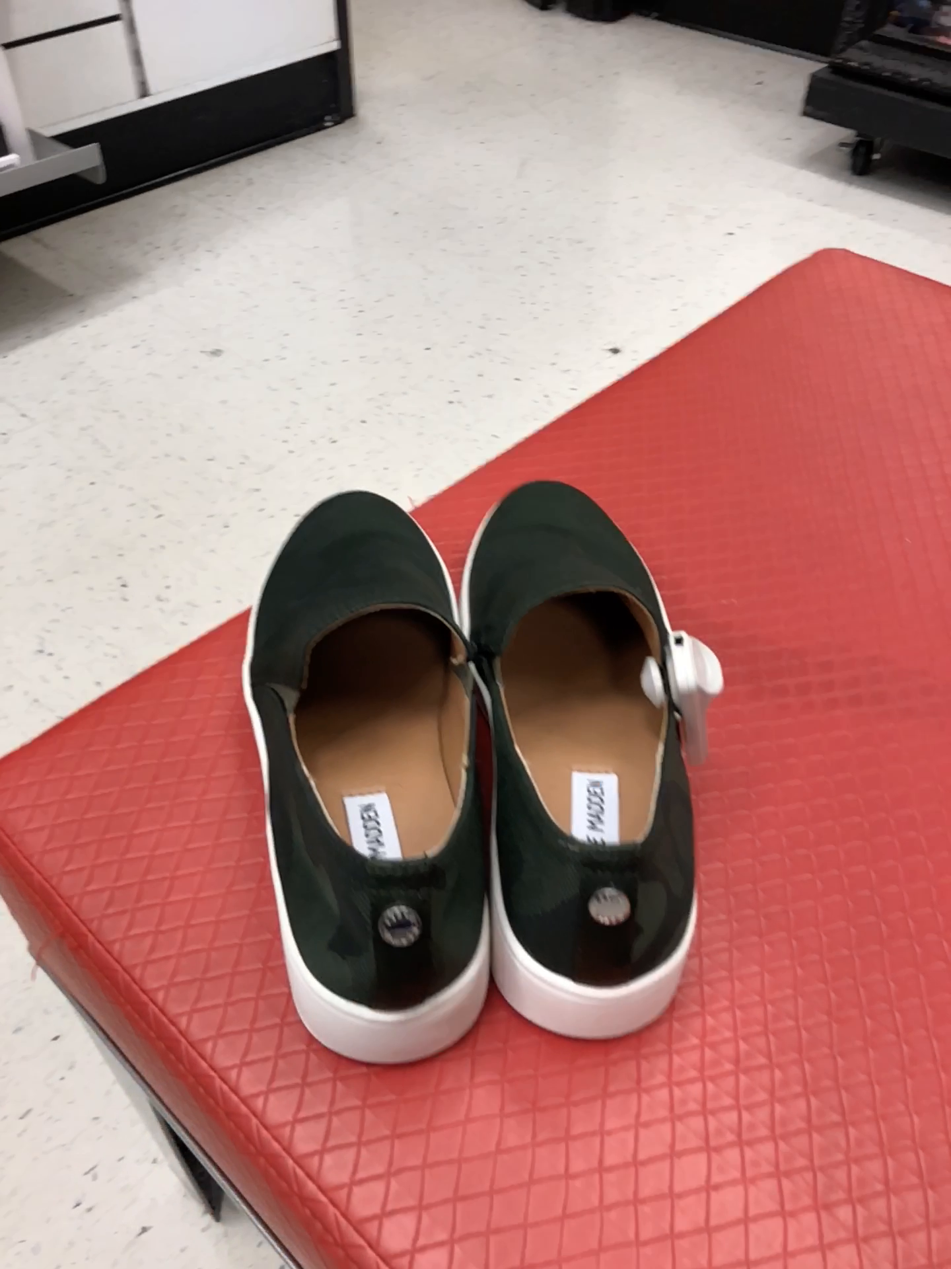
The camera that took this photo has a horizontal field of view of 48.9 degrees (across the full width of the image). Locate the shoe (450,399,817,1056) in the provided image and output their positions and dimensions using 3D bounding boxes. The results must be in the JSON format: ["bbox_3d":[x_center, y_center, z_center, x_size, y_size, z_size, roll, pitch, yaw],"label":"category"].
[{"bbox_3d":[0.040,0.017,0.401,0.088,0.090,0.250,-2,44,-3],"label":"shoe"}]

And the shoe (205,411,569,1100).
[{"bbox_3d":[-0.045,0.025,0.391,0.091,0.090,0.244,-8,45,-9],"label":"shoe"}]
